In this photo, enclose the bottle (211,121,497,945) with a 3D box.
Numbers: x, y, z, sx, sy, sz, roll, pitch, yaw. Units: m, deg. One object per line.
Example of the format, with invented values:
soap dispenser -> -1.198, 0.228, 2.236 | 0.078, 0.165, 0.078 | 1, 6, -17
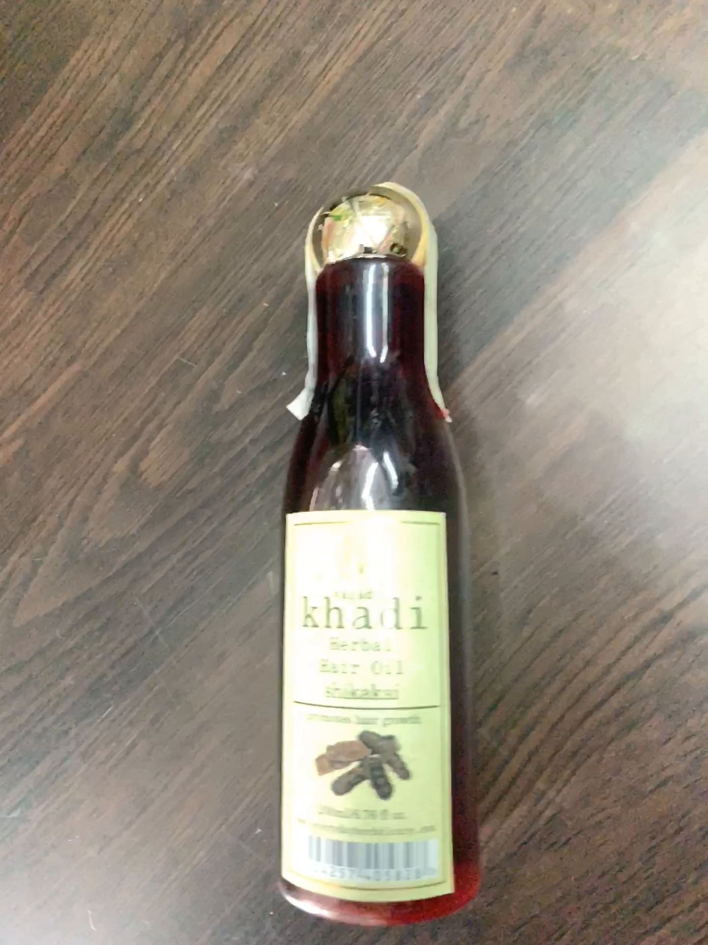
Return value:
bottle -> 0.005, 0.015, 0.172 | 0.050, 0.050, 0.170 | -2, 80, 16
